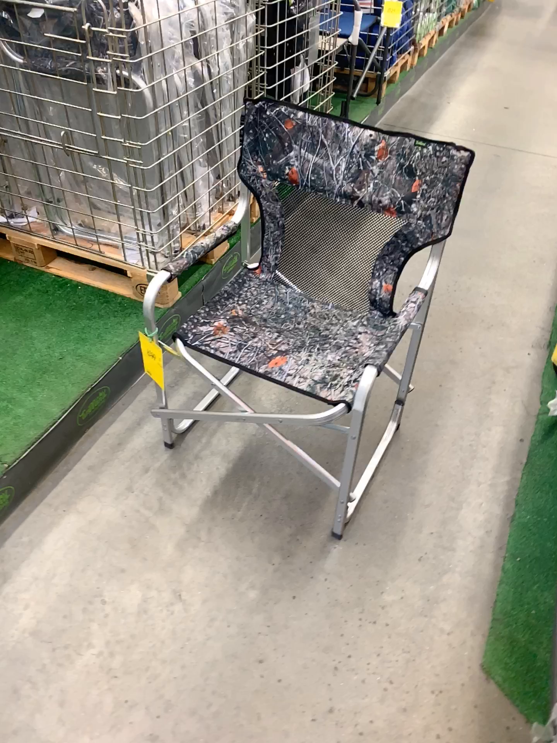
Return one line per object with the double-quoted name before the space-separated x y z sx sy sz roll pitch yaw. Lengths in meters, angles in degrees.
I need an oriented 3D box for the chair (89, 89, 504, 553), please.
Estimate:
"chair" 0.052 -0.145 1.462 0.651 0.836 0.612 23 46 21
